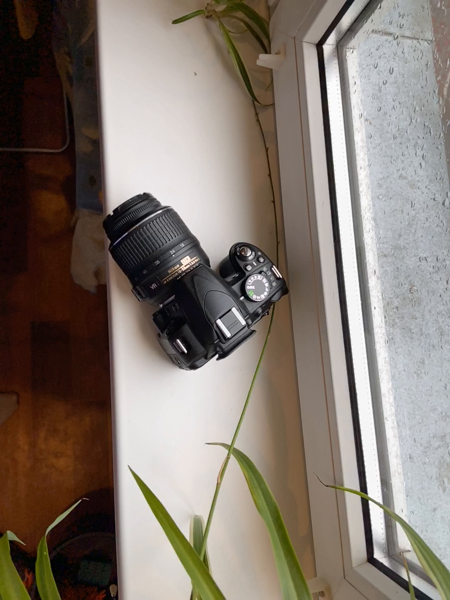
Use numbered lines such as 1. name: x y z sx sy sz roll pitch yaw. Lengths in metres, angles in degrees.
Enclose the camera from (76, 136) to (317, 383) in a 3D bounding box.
1. camera: -0.028 -0.030 0.408 0.124 0.091 0.154 -39 94 -16
